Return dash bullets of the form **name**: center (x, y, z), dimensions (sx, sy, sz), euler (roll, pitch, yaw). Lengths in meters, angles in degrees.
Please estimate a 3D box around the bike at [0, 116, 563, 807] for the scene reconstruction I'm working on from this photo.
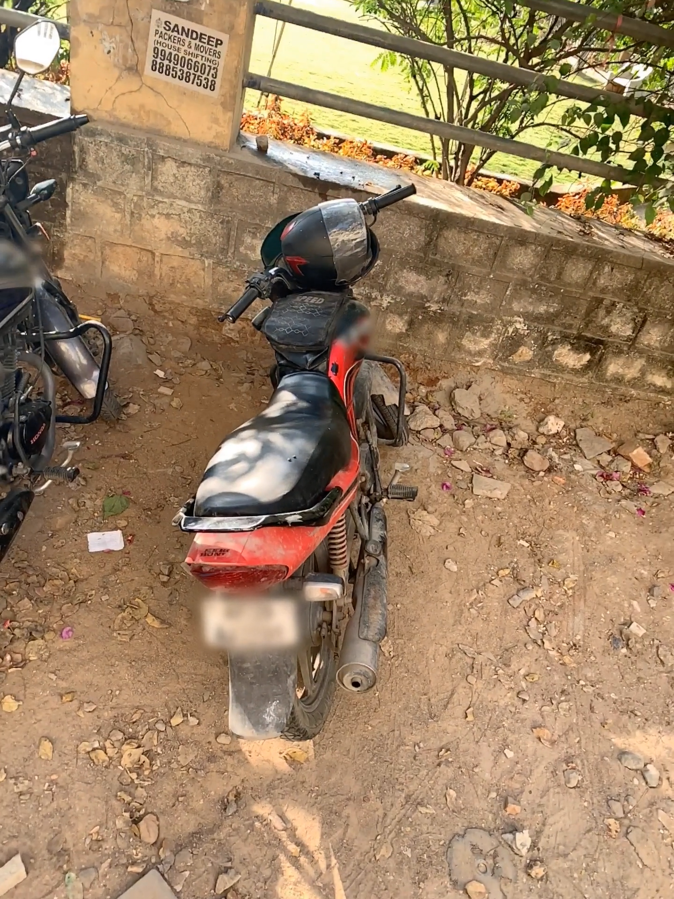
- **bike**: center (-0.220, -0.103, 2.073), dimensions (1.063, 1.246, 1.602), euler (14, 34, -3)
